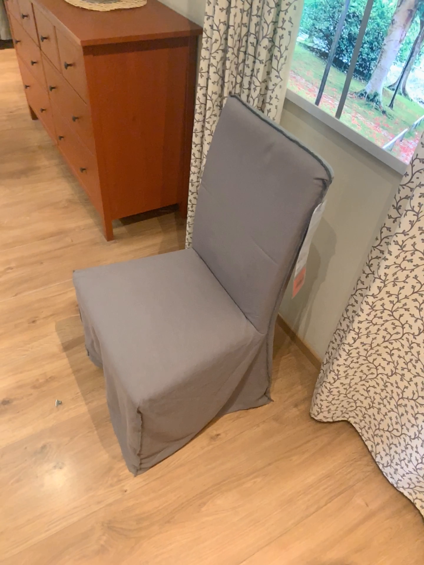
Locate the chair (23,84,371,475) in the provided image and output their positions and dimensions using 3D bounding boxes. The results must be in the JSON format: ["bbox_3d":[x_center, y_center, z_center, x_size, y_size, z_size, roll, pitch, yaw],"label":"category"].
[{"bbox_3d":[-0.093,0.000,1.280,0.591,0.877,0.572,-18,50,-24],"label":"chair"}]
